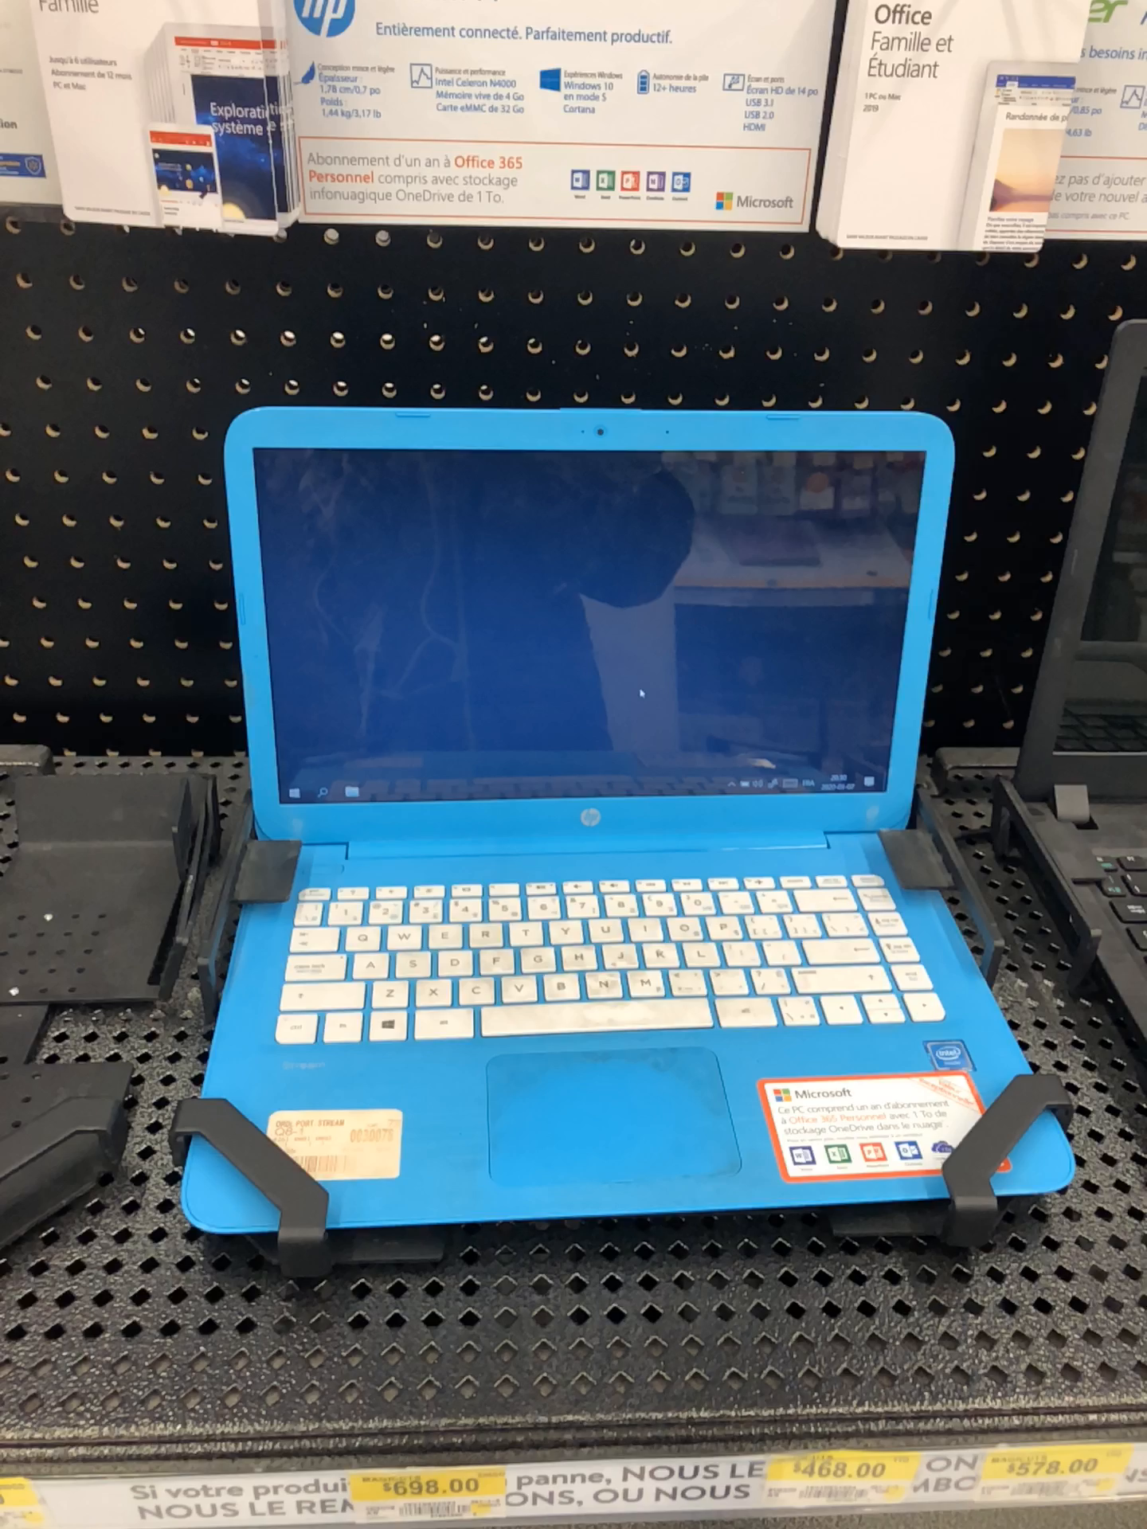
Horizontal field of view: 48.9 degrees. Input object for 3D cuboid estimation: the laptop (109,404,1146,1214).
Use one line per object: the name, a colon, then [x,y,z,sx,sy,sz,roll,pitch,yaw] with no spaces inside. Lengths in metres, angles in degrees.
laptop: [0.017,-0.002,0.516,0.318,0.197,0.270,-1,34,-4]
